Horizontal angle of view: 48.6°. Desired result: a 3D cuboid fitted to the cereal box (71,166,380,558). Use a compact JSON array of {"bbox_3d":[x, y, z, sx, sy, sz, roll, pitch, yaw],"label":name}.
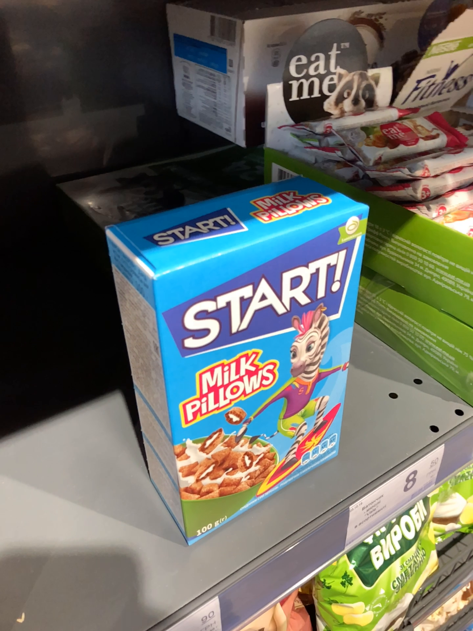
[{"bbox_3d":[-0.003,0.024,0.283,0.120,0.169,0.070,-21,39,-26],"label":"cereal box"}]
